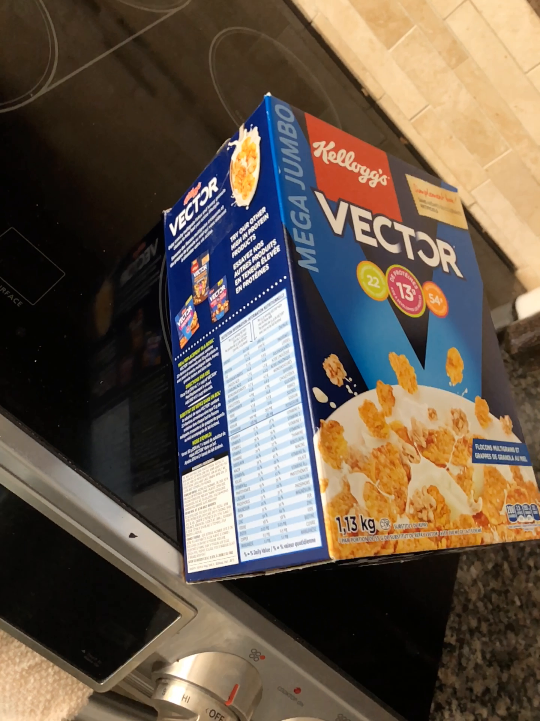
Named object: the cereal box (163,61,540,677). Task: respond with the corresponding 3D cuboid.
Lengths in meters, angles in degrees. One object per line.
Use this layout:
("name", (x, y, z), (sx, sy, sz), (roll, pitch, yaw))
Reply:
("cereal box", (0.066, 0.020, 0.417), (0.221, 0.169, 0.310), (11, 67, -37))
